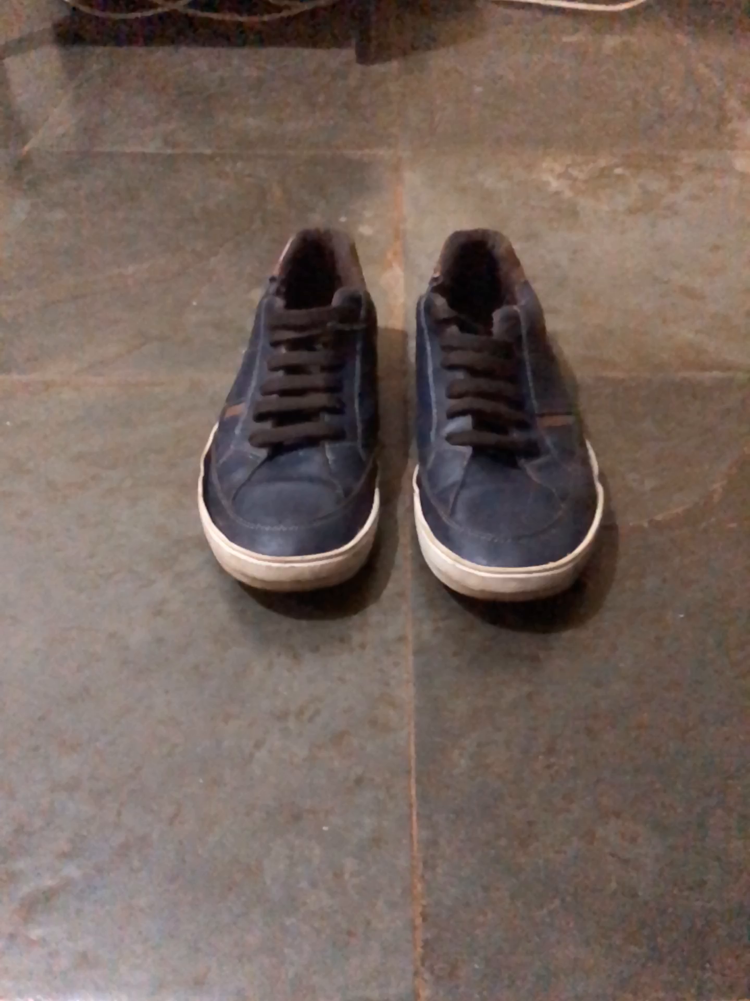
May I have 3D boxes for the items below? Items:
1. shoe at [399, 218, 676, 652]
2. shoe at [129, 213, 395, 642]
[{"bbox_3d":[0.077,-0.058,0.510,0.110,0.099,0.292,-1,45,-1],"label":"shoe"},{"bbox_3d":[-0.050,-0.063,0.513,0.120,0.099,0.292,1,45,0],"label":"shoe"}]
